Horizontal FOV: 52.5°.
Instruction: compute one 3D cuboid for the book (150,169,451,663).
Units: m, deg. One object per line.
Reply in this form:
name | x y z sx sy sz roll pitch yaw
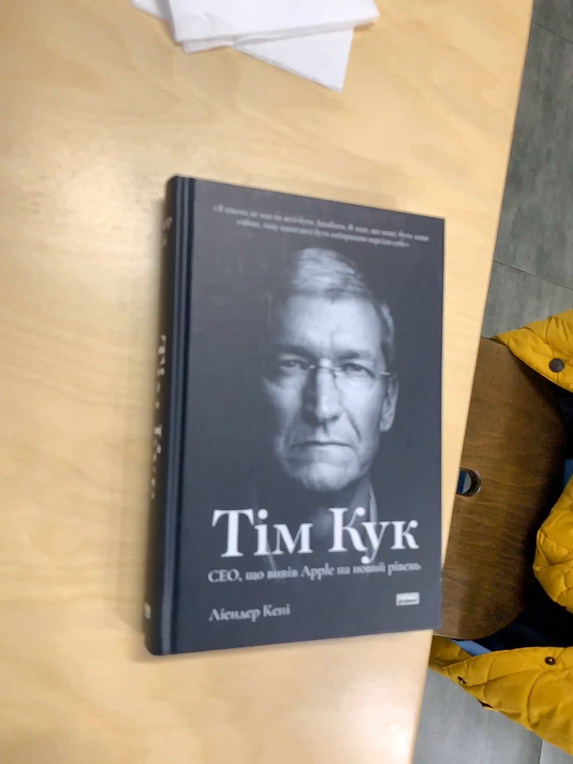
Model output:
book | 0.011 0.016 0.294 0.145 0.034 0.217 3 84 -18
